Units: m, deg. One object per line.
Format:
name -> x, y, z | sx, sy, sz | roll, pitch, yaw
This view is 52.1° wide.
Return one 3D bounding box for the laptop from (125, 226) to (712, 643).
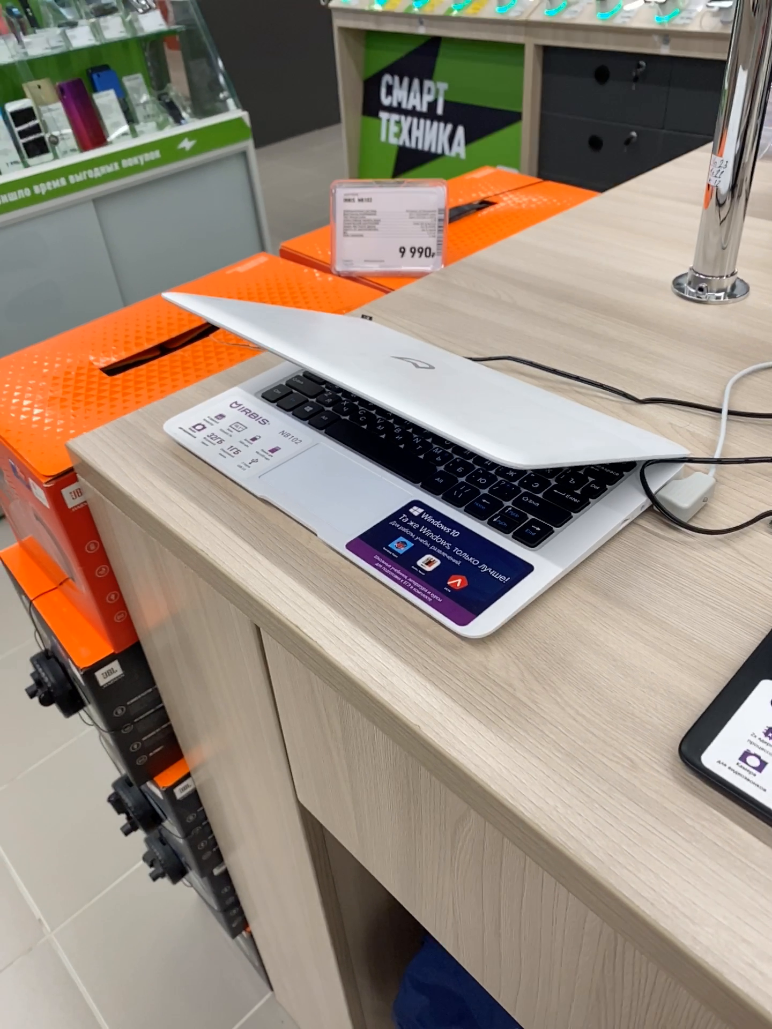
laptop -> 0.006, -0.074, 0.459 | 0.178, 0.078, 0.281 | -33, 46, -30
